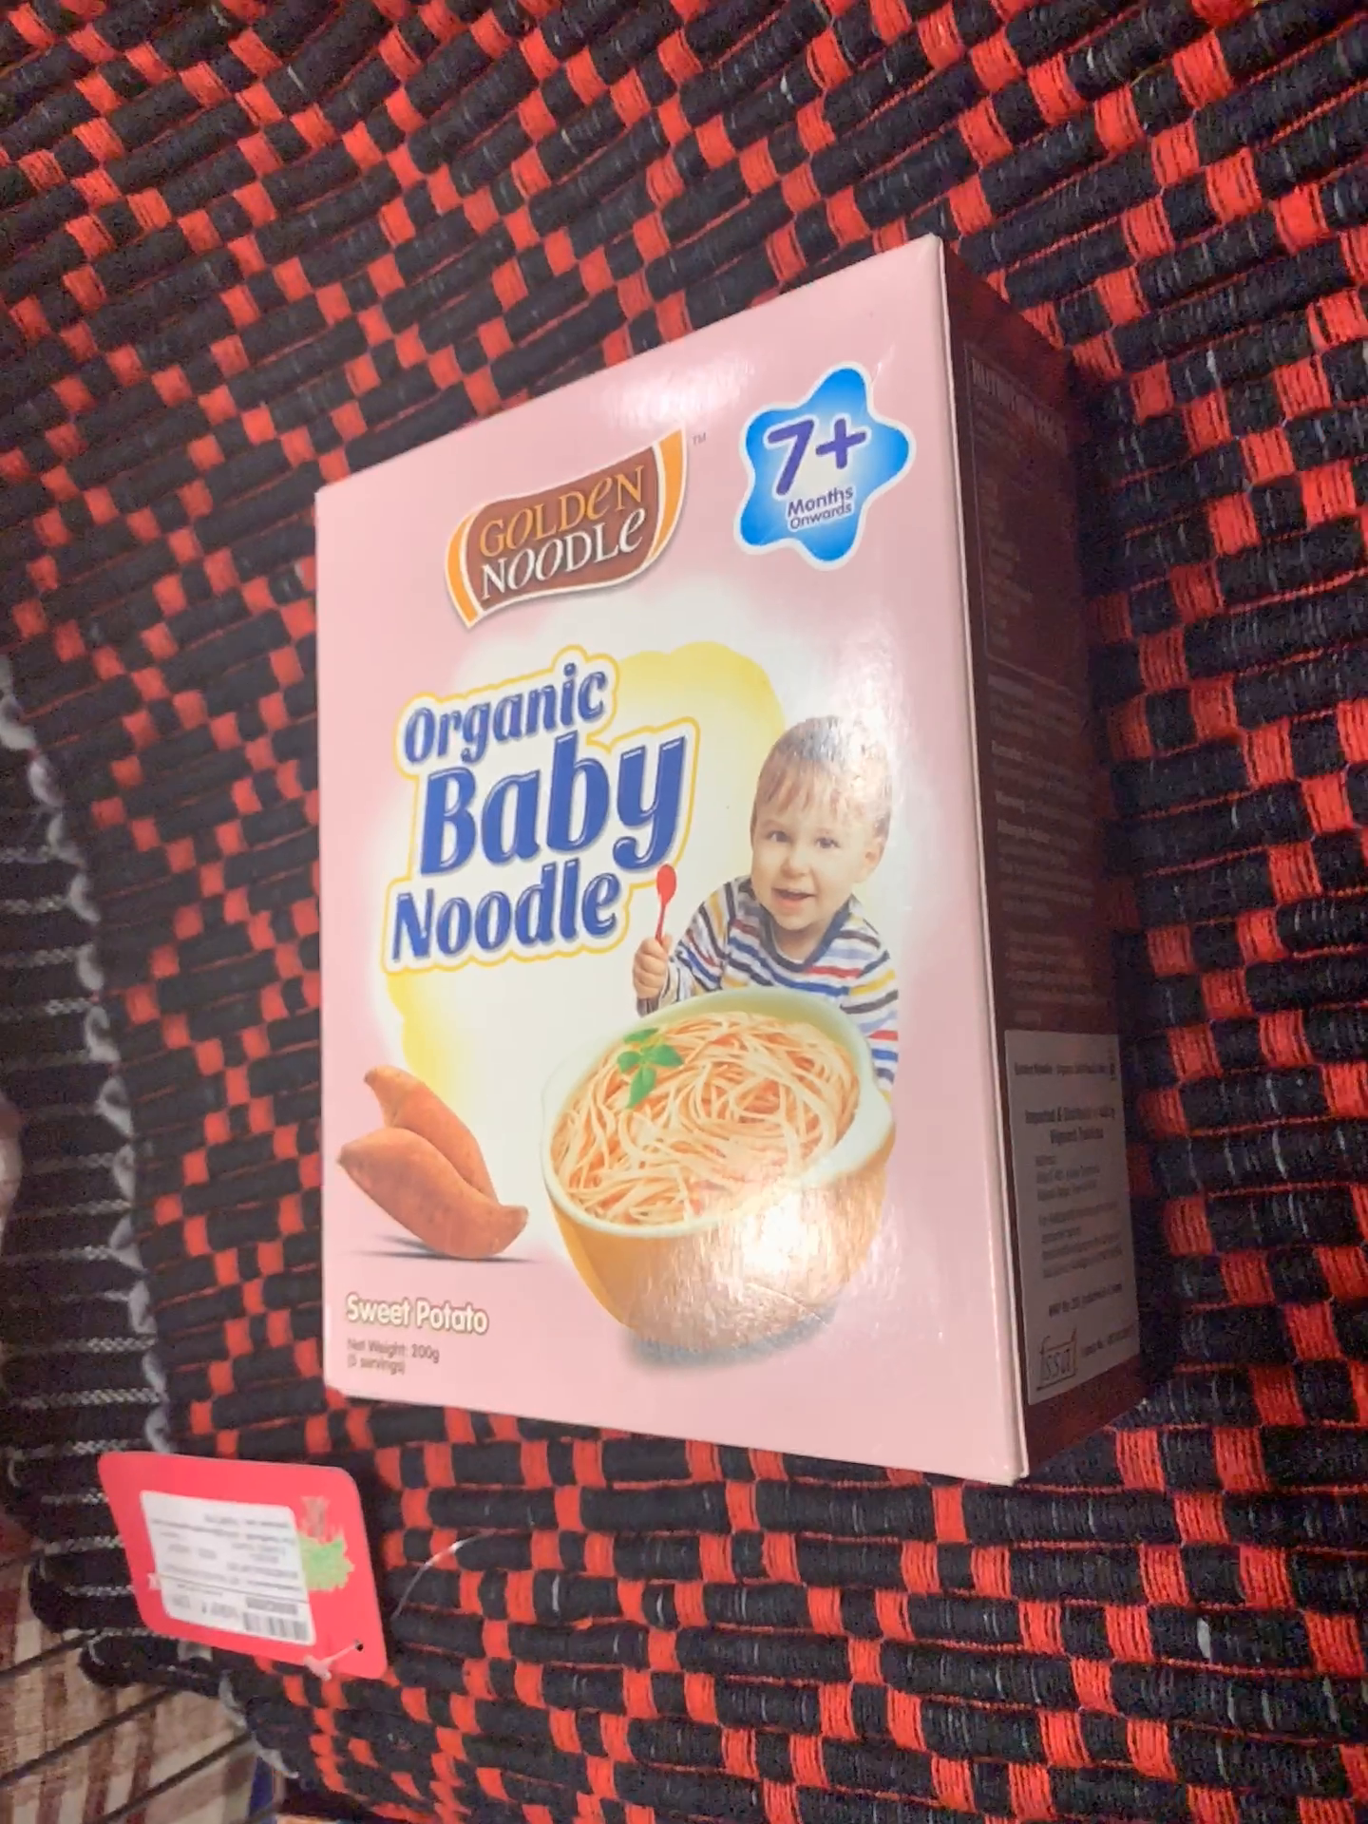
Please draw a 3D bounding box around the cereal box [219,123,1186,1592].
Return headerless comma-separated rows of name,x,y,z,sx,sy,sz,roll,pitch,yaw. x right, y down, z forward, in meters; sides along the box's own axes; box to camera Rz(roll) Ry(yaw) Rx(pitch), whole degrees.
cereal box,-0.006,-0.002,0.212,0.131,0.050,0.160,-7,83,37
